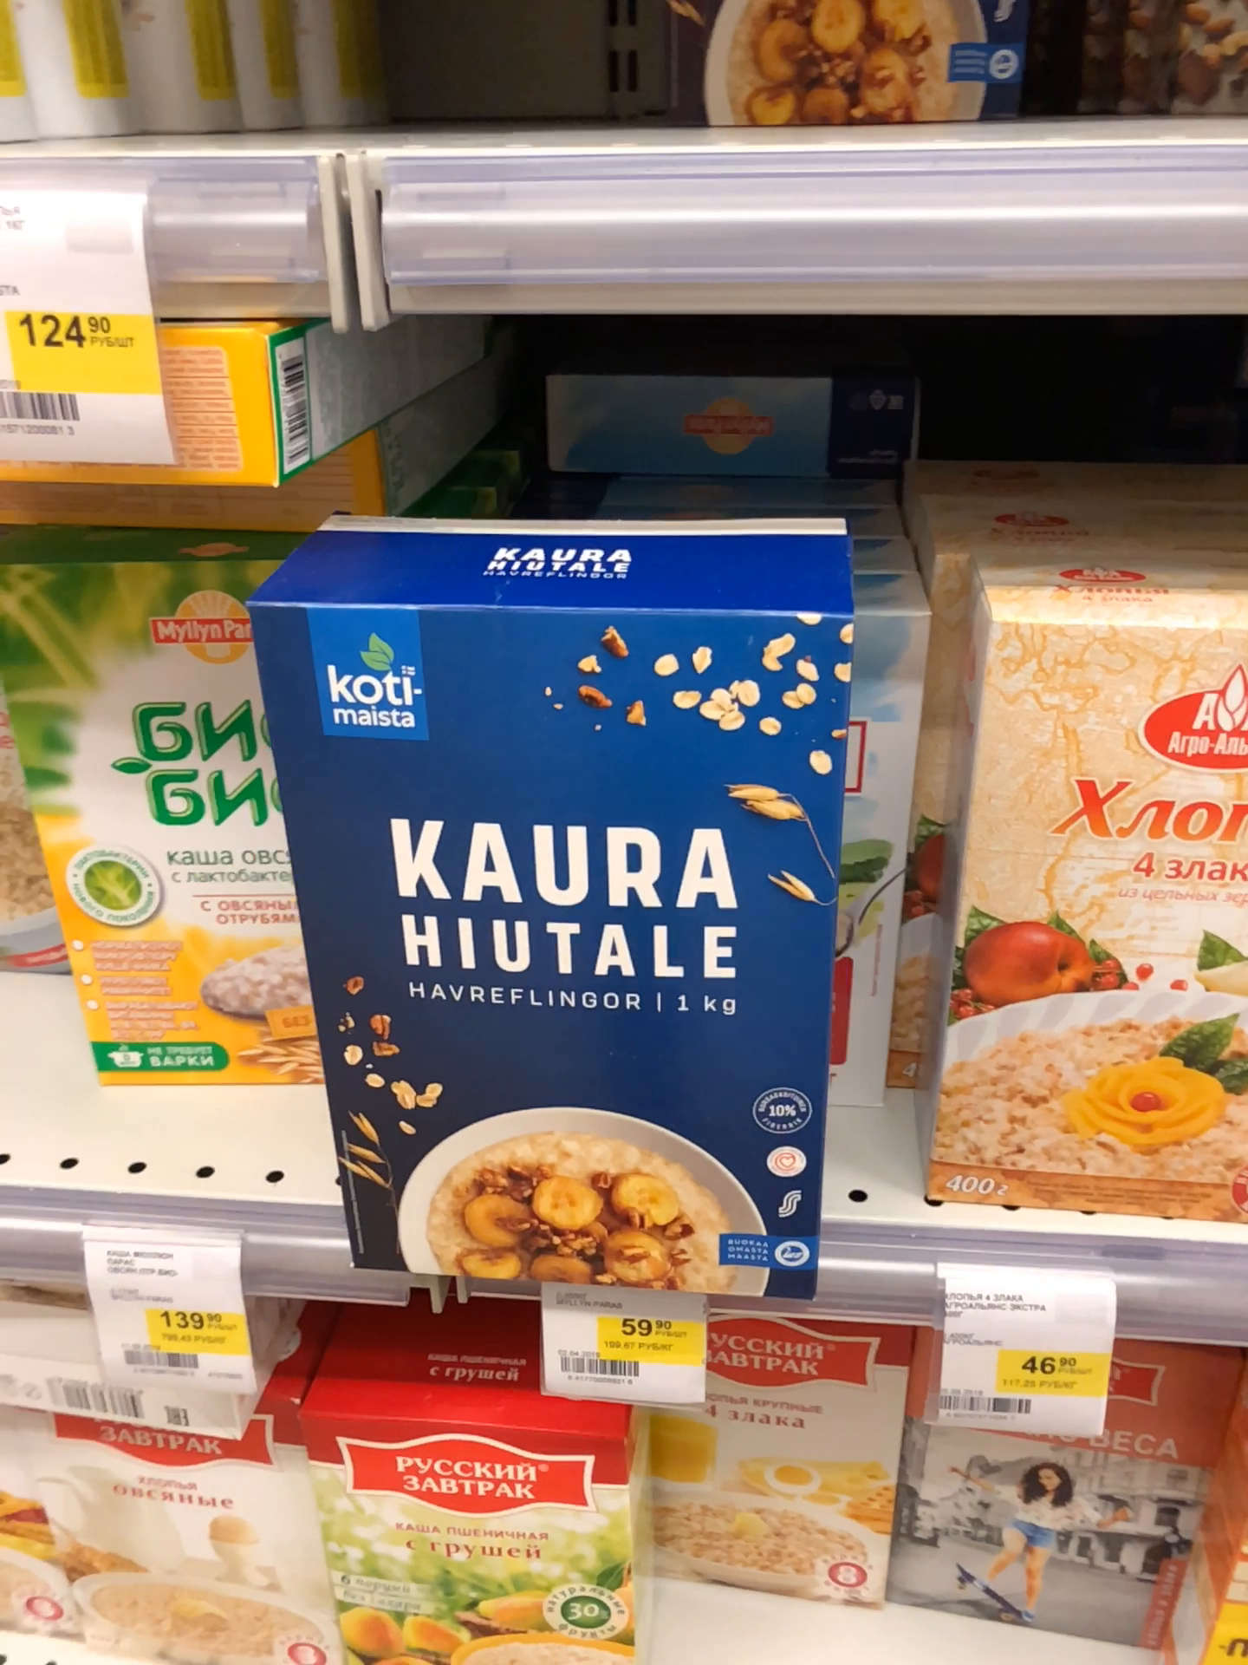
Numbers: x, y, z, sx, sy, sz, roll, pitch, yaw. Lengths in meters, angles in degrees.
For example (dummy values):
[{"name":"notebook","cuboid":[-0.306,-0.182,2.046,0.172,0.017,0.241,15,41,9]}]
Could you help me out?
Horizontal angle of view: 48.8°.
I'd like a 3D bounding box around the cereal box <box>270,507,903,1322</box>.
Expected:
[{"name":"cereal box","cuboid":[-0.004,0.028,0.411,0.150,0.229,0.080,2,28,6]}]
